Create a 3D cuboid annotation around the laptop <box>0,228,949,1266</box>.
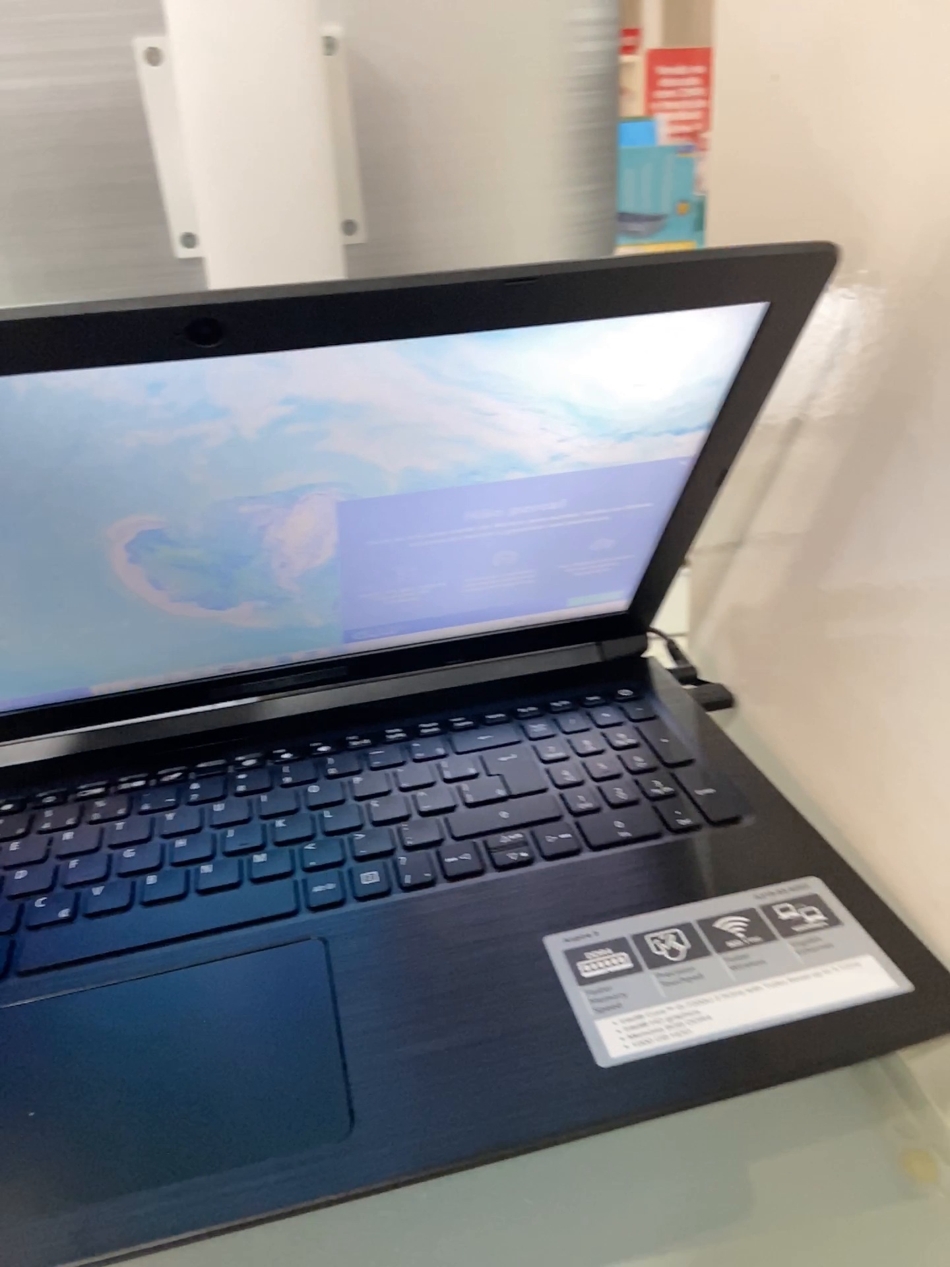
[{"bbox_3d":[-0.069,0.000,0.306,0.367,0.193,0.235,-10,25,-11],"label":"laptop"}]
